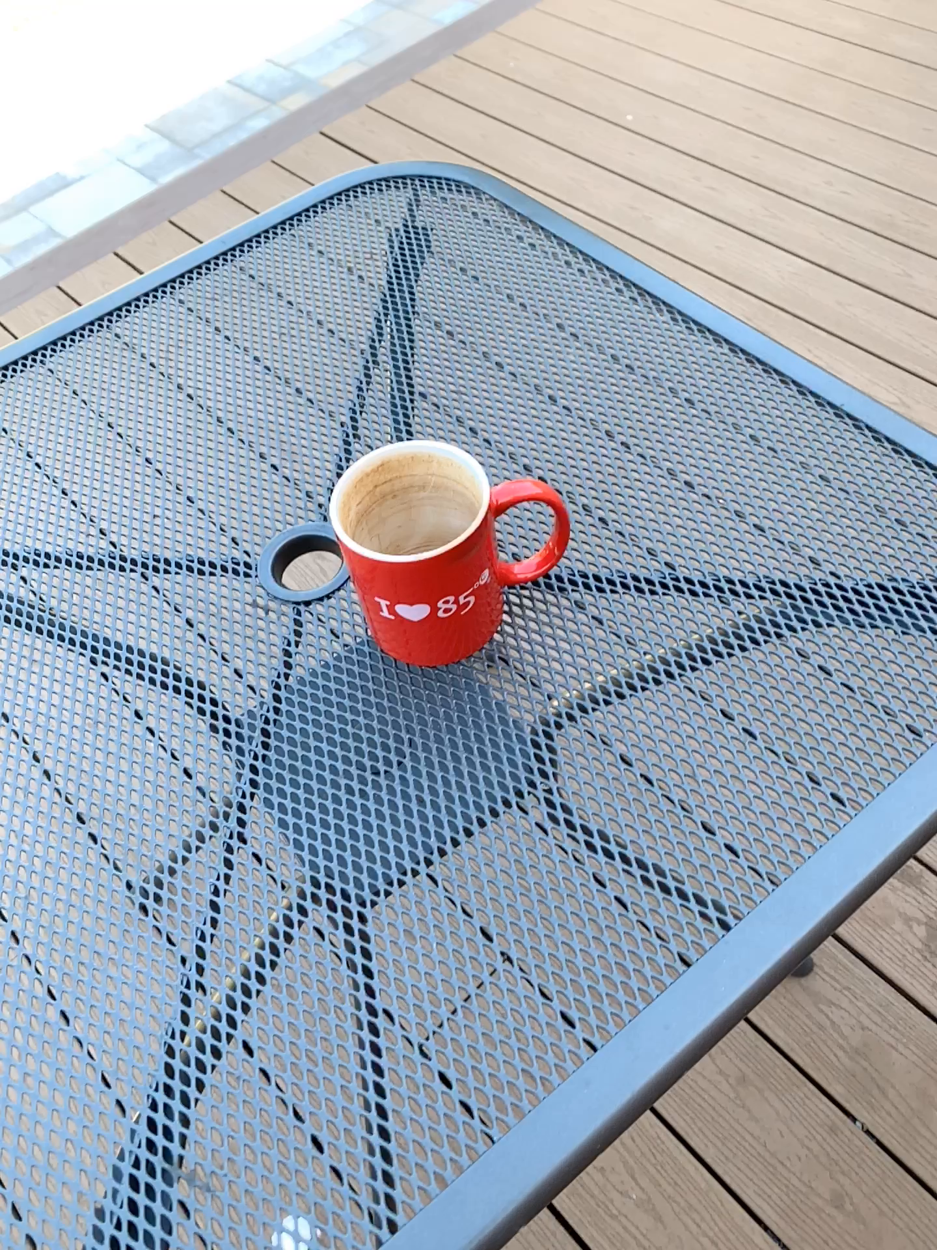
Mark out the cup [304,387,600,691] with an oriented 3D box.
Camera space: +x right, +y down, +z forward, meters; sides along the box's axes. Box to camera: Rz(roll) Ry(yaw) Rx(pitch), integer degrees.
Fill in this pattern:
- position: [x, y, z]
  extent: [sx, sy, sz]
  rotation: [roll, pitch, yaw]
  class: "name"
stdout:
- position: [-0.006, -0.045, 0.526]
  extent: [0.130, 0.100, 0.090]
  rotation: [-17, 56, -3]
  class: "cup"
